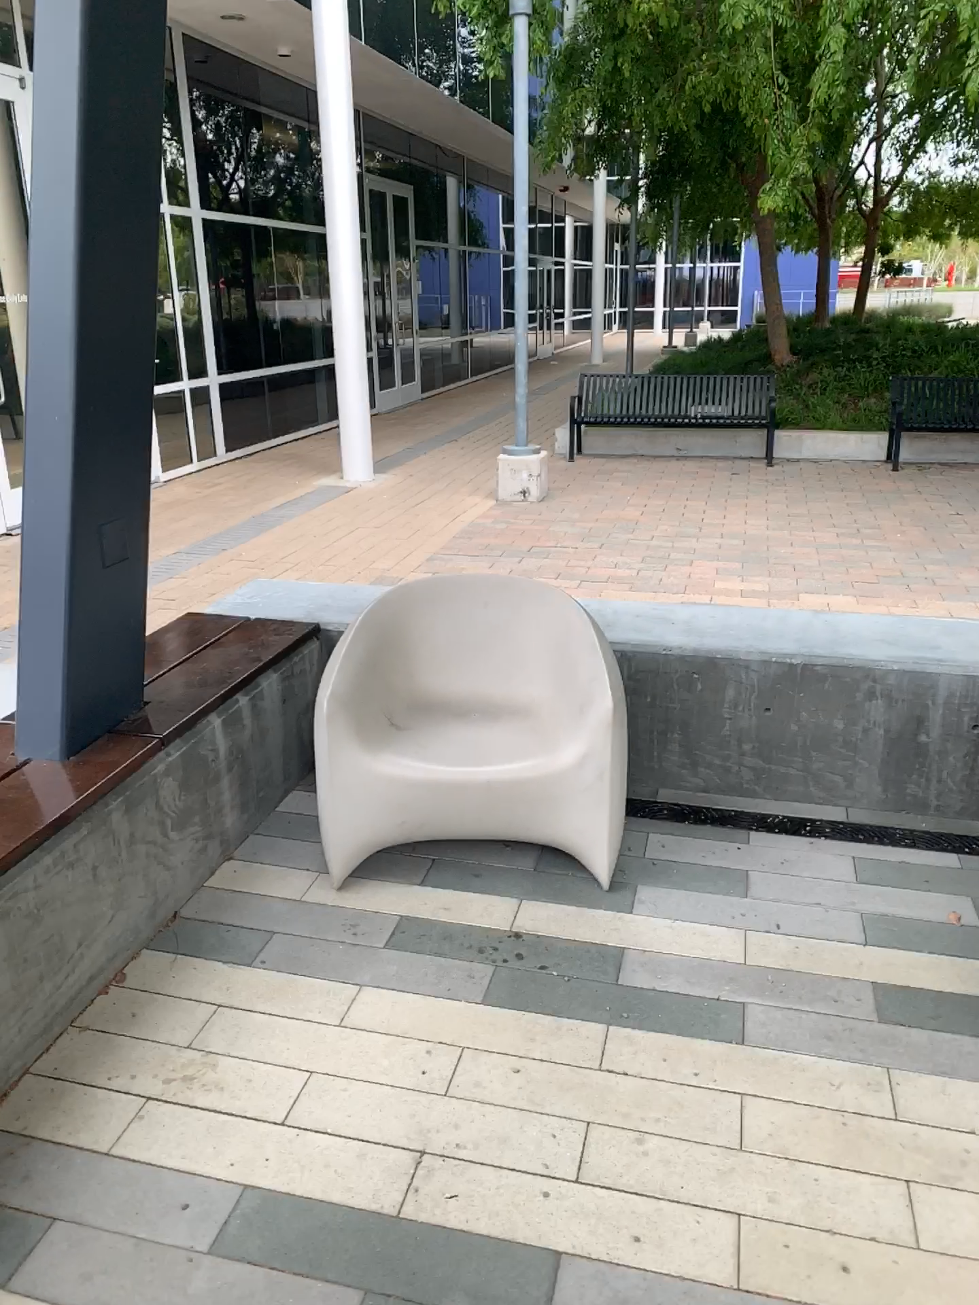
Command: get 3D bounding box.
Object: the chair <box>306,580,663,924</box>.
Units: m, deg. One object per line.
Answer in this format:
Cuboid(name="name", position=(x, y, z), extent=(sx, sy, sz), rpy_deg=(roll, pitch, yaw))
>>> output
Cuboid(name="chair", position=(-0.013, 0.282, 3.310), extent=(0.980, 0.786, 0.925), rpy_deg=(0, 22, 0))
